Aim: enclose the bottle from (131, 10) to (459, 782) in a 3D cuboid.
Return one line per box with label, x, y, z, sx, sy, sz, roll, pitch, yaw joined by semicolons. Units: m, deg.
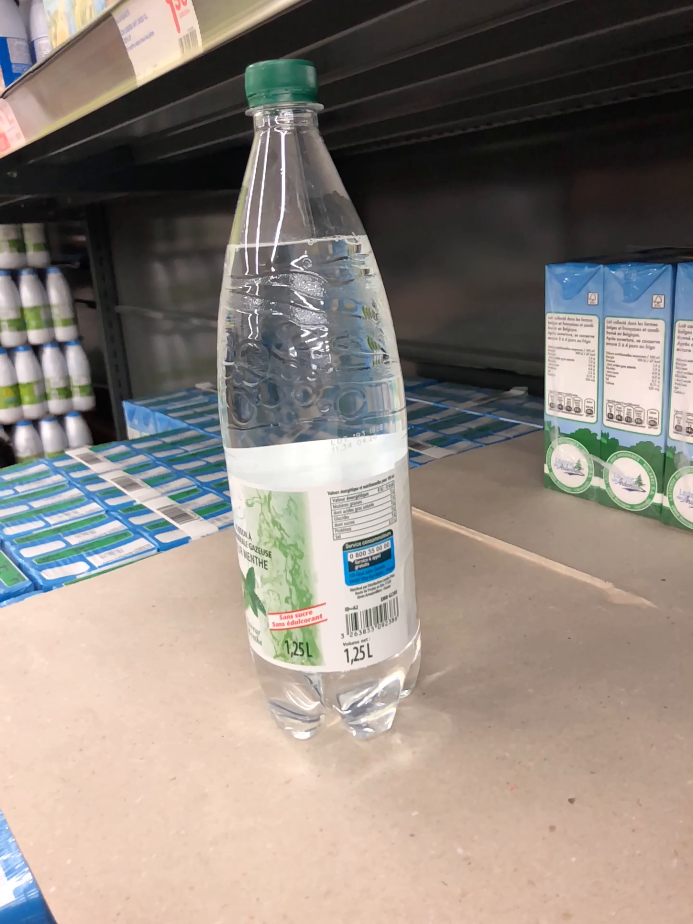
bottle;-0.019;-0.024;0.354;0.090;0.299;0.100;-13;18;-29
